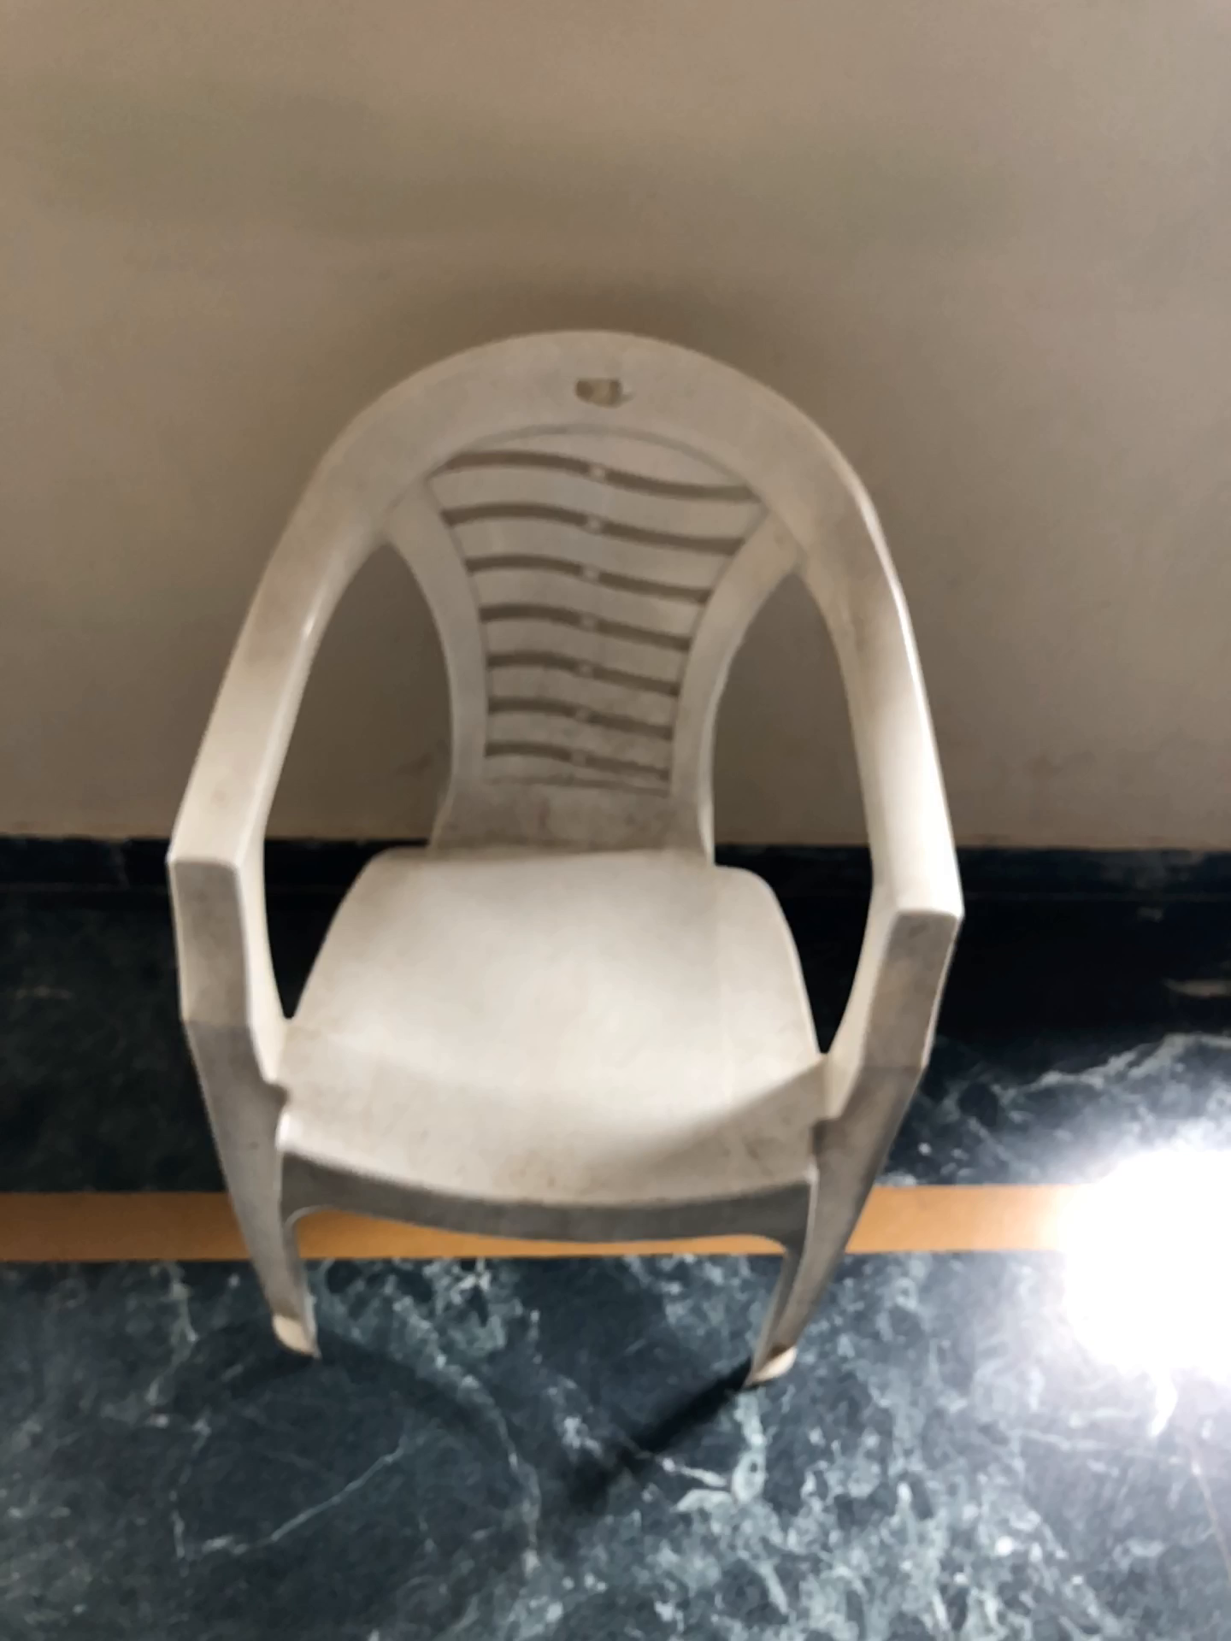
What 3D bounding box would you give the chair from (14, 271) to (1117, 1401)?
[{"bbox_3d":[-0.054,0.047,1.215,0.580,0.775,0.624,1,46,-4],"label":"chair"}]
